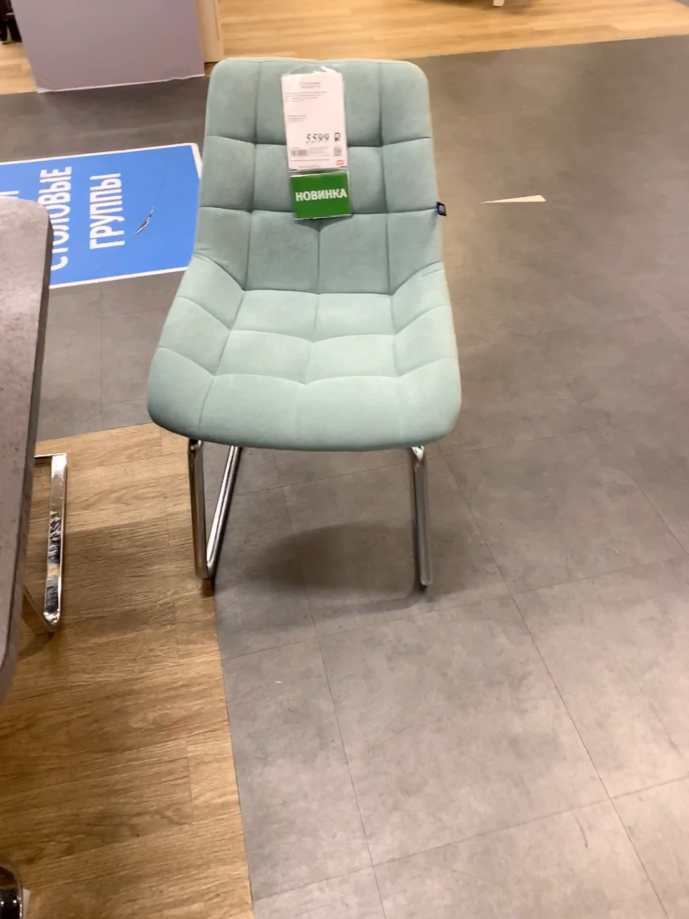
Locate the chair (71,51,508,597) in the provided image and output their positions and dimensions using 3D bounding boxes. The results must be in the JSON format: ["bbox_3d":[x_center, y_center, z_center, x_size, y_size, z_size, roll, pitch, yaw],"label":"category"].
[{"bbox_3d":[-0.055,-0.213,1.307,0.510,0.825,0.553,1,46,1],"label":"chair"}]

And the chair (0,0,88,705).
[{"bbox_3d":[-0.835,-0.143,1.136,0.510,1.004,0.573,-8,46,-7],"label":"chair"}]
